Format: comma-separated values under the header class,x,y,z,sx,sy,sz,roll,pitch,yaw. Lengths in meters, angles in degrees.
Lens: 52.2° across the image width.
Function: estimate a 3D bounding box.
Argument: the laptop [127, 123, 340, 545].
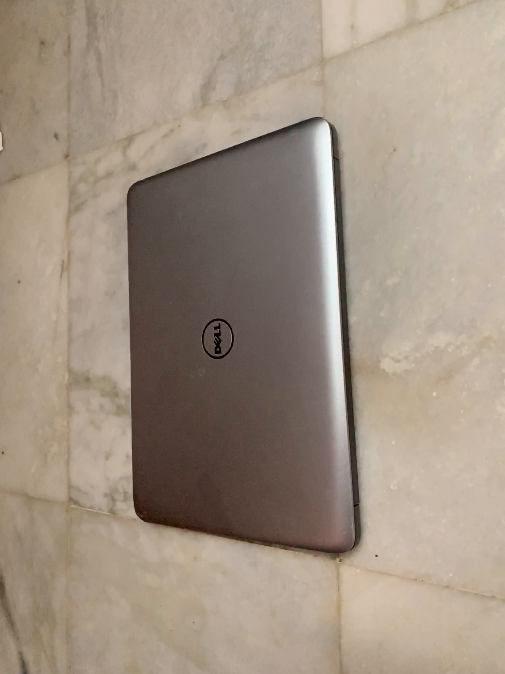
class,x,y,z,sx,sy,sz,roll,pitch,yaw
laptop,-0.034,0.003,0.495,0.235,0.001,0.351,-5,85,35
